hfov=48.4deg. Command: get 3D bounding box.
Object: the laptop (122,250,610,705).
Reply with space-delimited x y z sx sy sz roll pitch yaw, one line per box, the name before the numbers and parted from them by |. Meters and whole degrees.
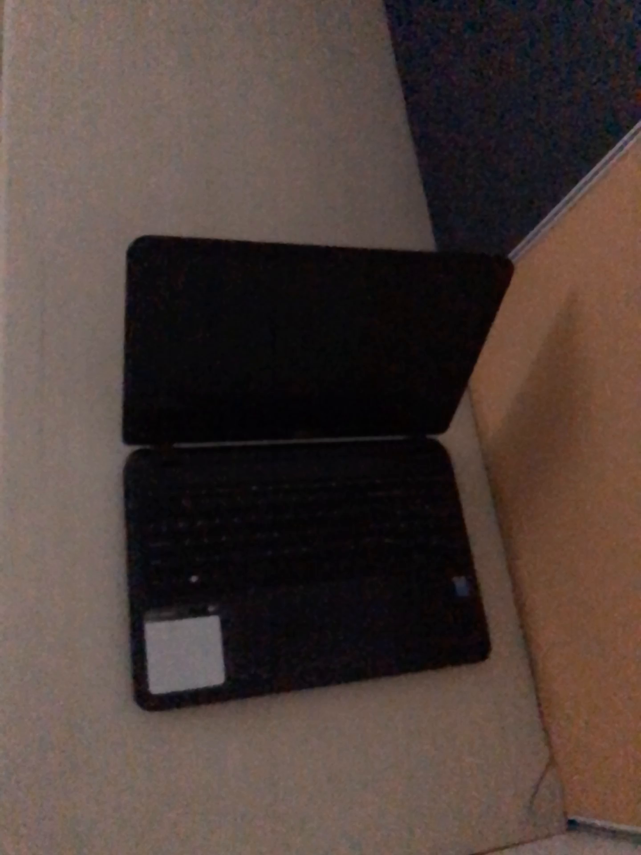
laptop | 0.010 0.049 0.674 0.356 0.206 0.352 -1 68 -19
